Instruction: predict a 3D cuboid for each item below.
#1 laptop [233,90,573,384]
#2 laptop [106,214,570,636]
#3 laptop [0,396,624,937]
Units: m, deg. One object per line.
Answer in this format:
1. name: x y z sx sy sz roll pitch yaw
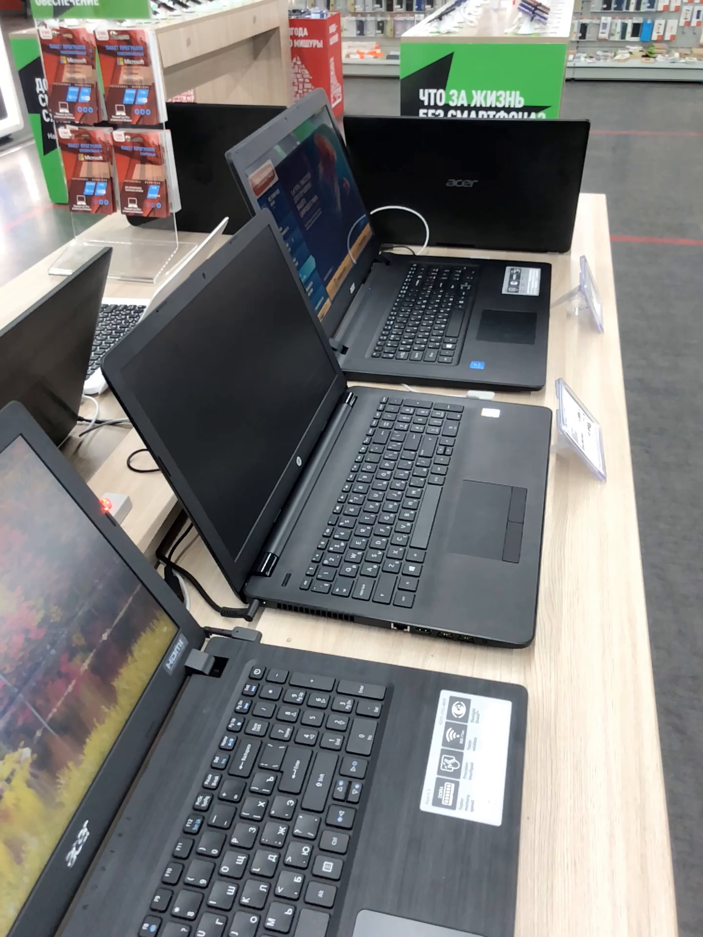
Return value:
1. laptop: 0.095 -0.357 1.105 0.395 0.267 0.398 6 37 13
2. laptop: 0.027 -0.075 0.761 0.333 0.215 0.379 7 36 11
3. laptop: -0.078 0.161 0.421 0.350 0.226 0.361 5 35 12
